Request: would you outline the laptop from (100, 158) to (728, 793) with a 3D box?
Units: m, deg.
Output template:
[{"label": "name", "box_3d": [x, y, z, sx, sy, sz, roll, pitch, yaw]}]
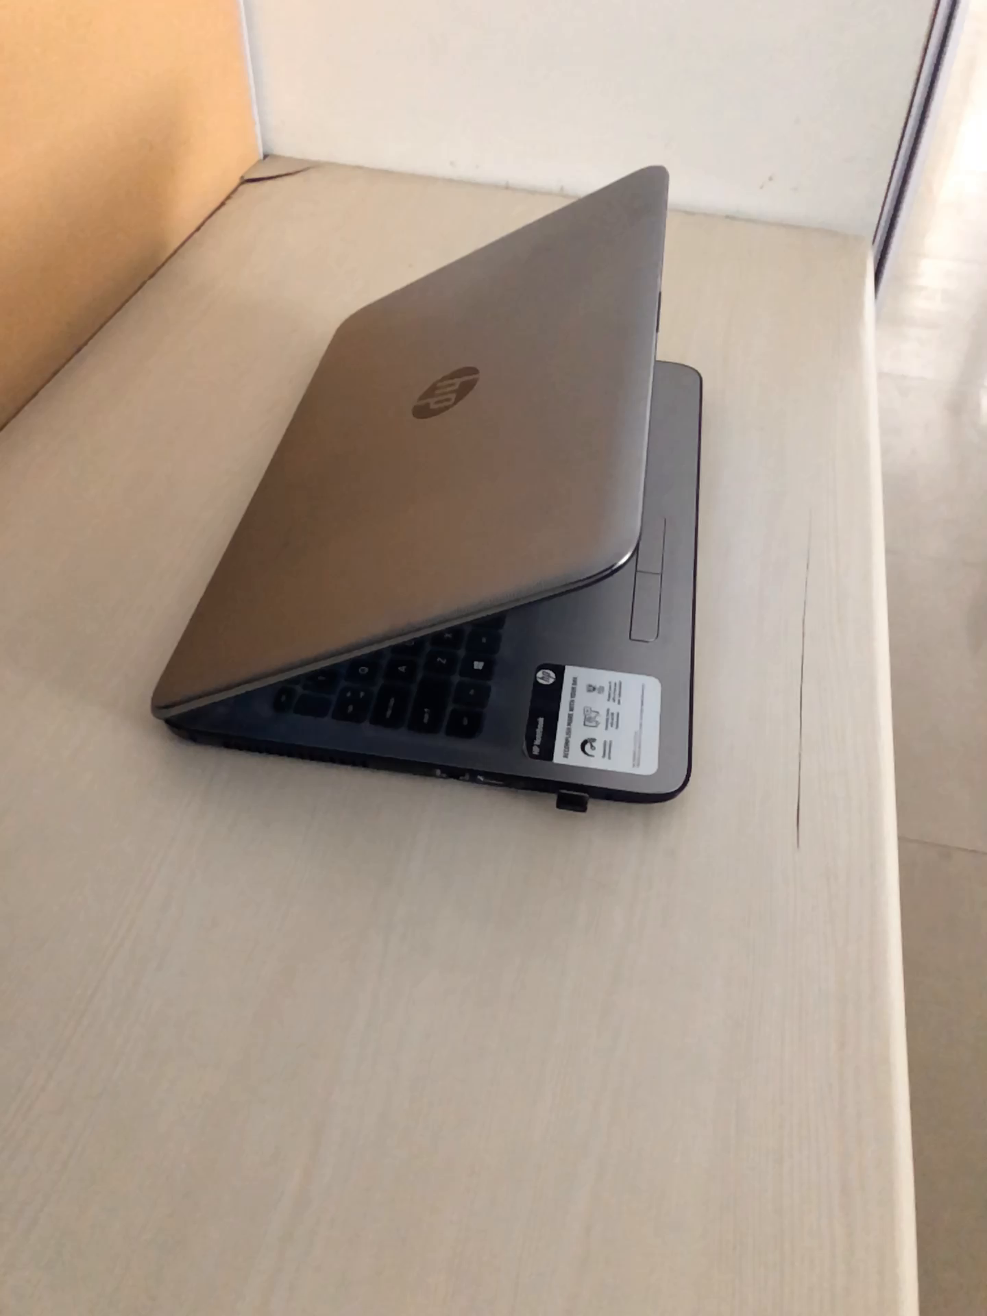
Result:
[{"label": "laptop", "box_3d": [-0.011, -0.126, 0.581, 0.238, 0.132, 0.366, 6, 44, 5]}]
